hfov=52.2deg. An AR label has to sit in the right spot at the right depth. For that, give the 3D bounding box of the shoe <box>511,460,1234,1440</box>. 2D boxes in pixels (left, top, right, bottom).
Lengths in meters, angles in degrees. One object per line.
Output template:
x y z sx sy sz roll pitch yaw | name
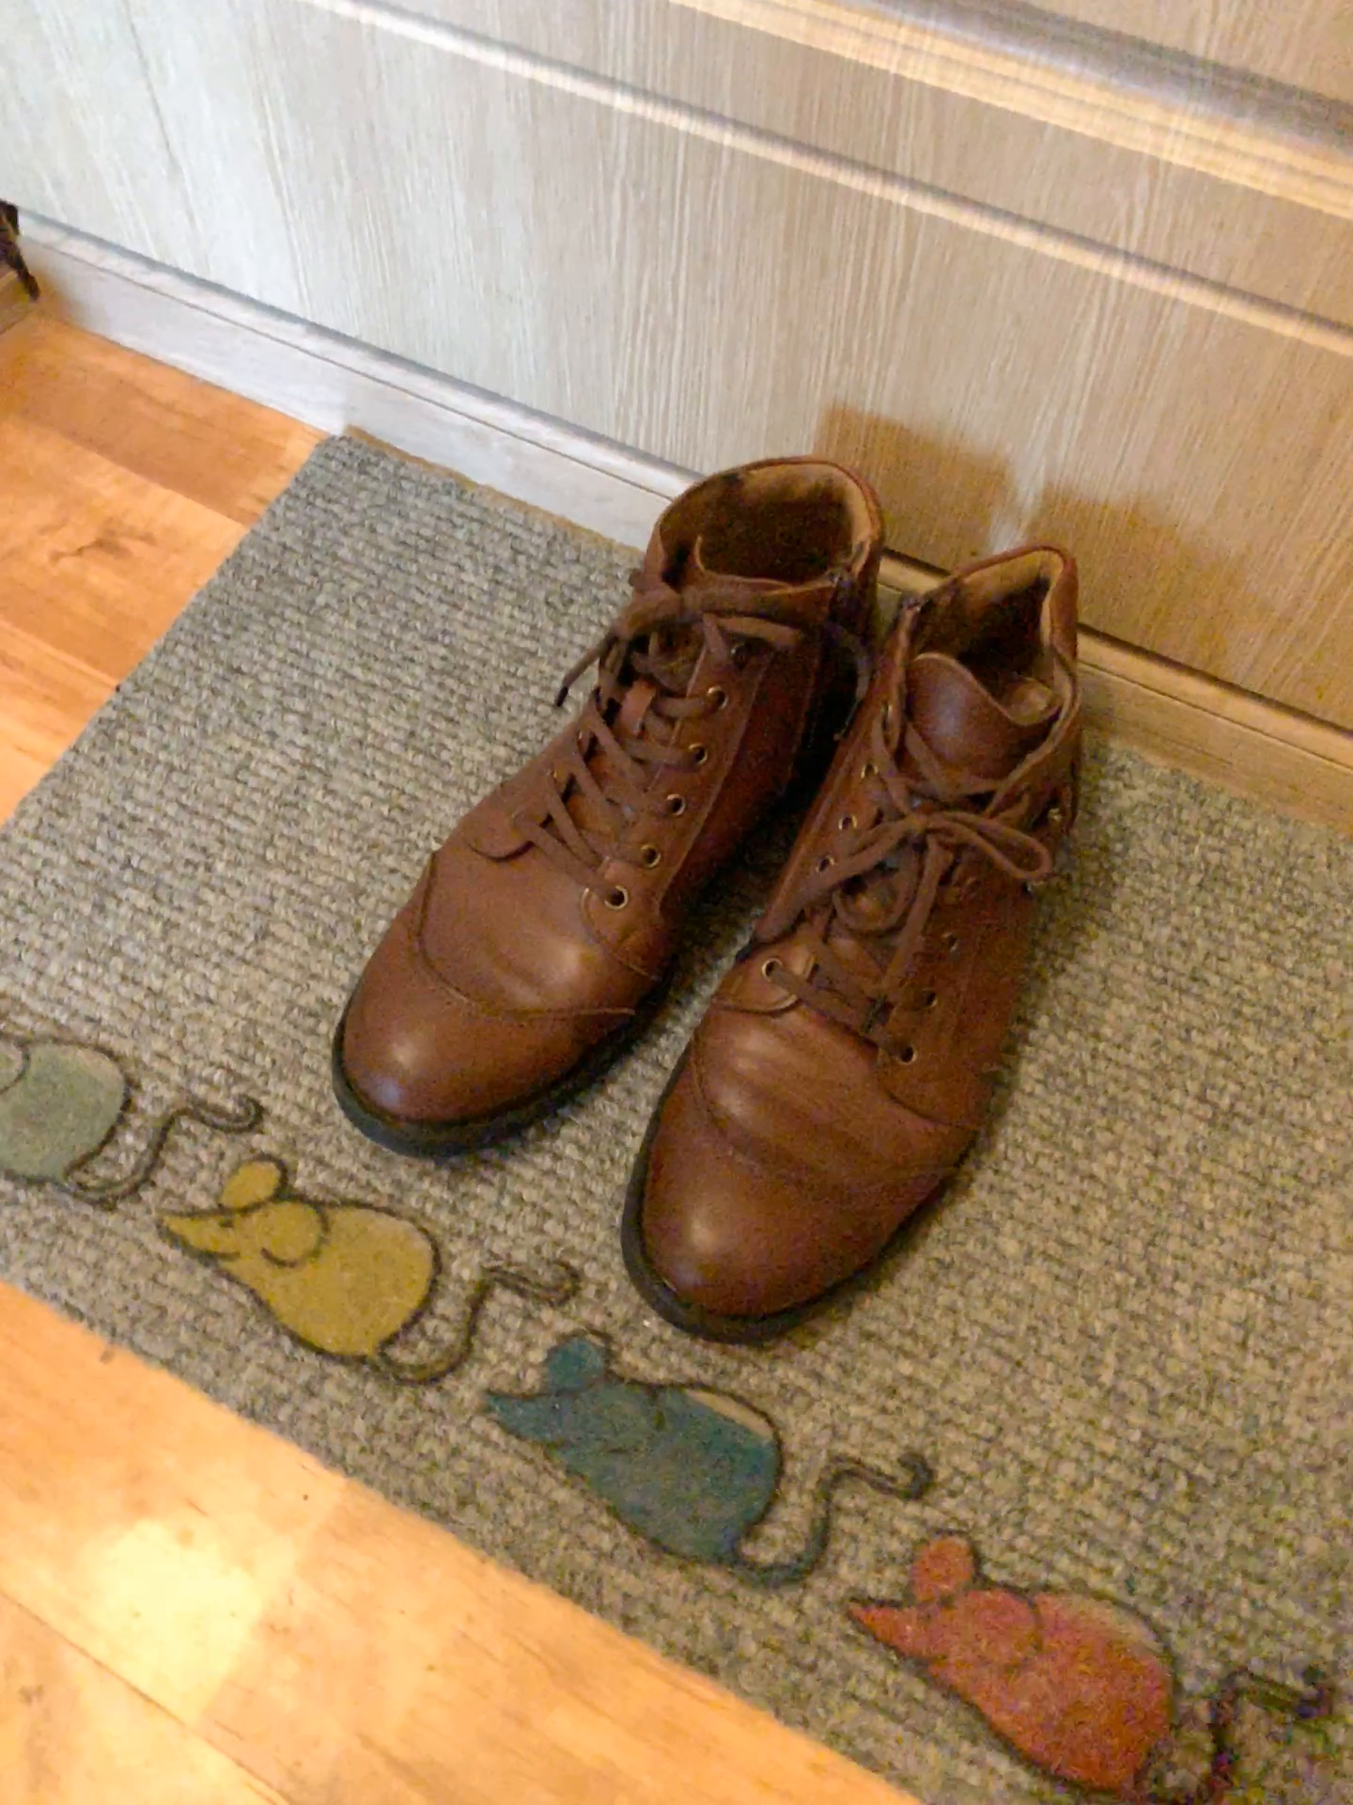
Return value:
0.067 0.012 0.455 0.110 0.140 0.270 25 63 11 | shoe

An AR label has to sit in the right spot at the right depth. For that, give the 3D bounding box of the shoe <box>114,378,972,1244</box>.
-0.032 -0.033 0.480 0.110 0.140 0.260 38 67 17 | shoe
